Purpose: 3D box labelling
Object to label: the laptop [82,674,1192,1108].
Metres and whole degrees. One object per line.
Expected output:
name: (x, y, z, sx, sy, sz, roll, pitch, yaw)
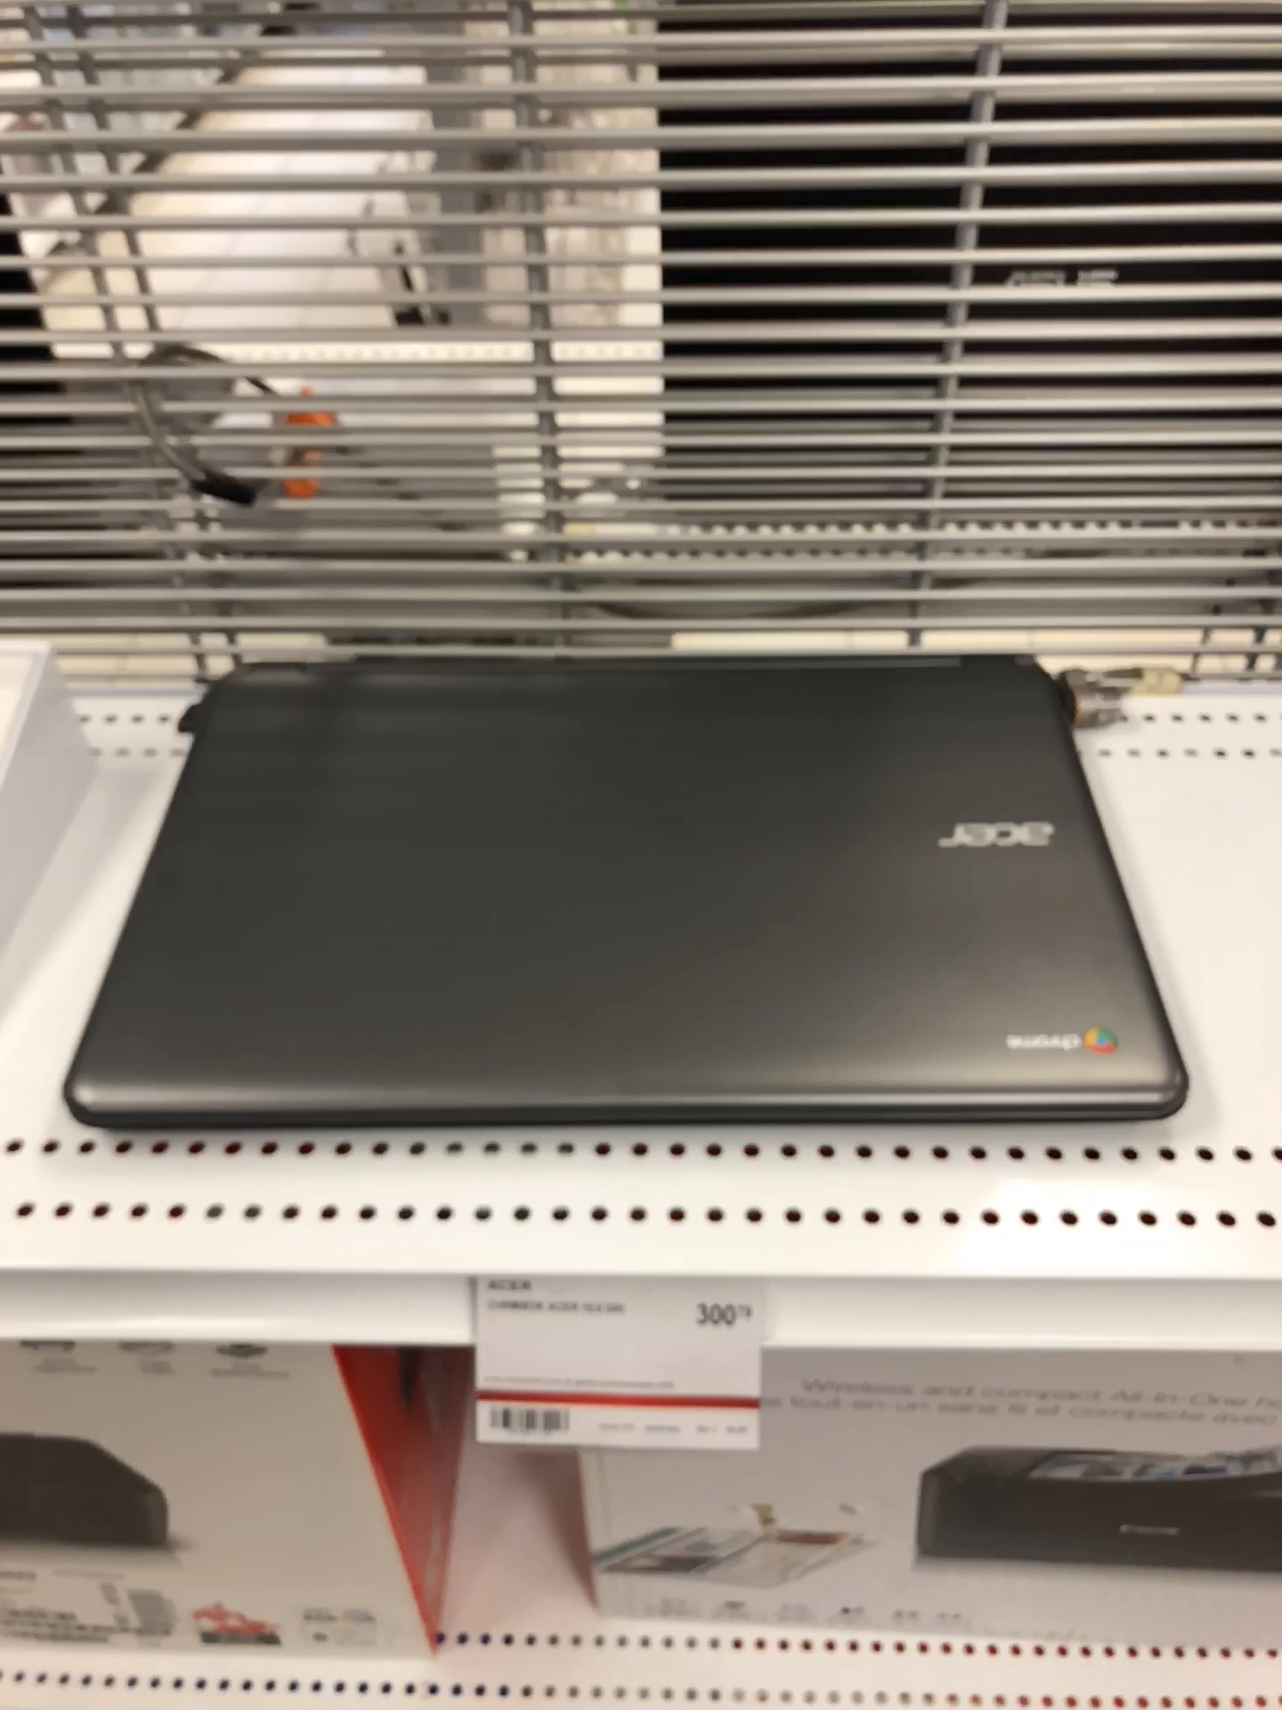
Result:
laptop: (-0.007, -0.001, 0.562, 0.367, 0.001, 0.238, 0, 42, 3)
